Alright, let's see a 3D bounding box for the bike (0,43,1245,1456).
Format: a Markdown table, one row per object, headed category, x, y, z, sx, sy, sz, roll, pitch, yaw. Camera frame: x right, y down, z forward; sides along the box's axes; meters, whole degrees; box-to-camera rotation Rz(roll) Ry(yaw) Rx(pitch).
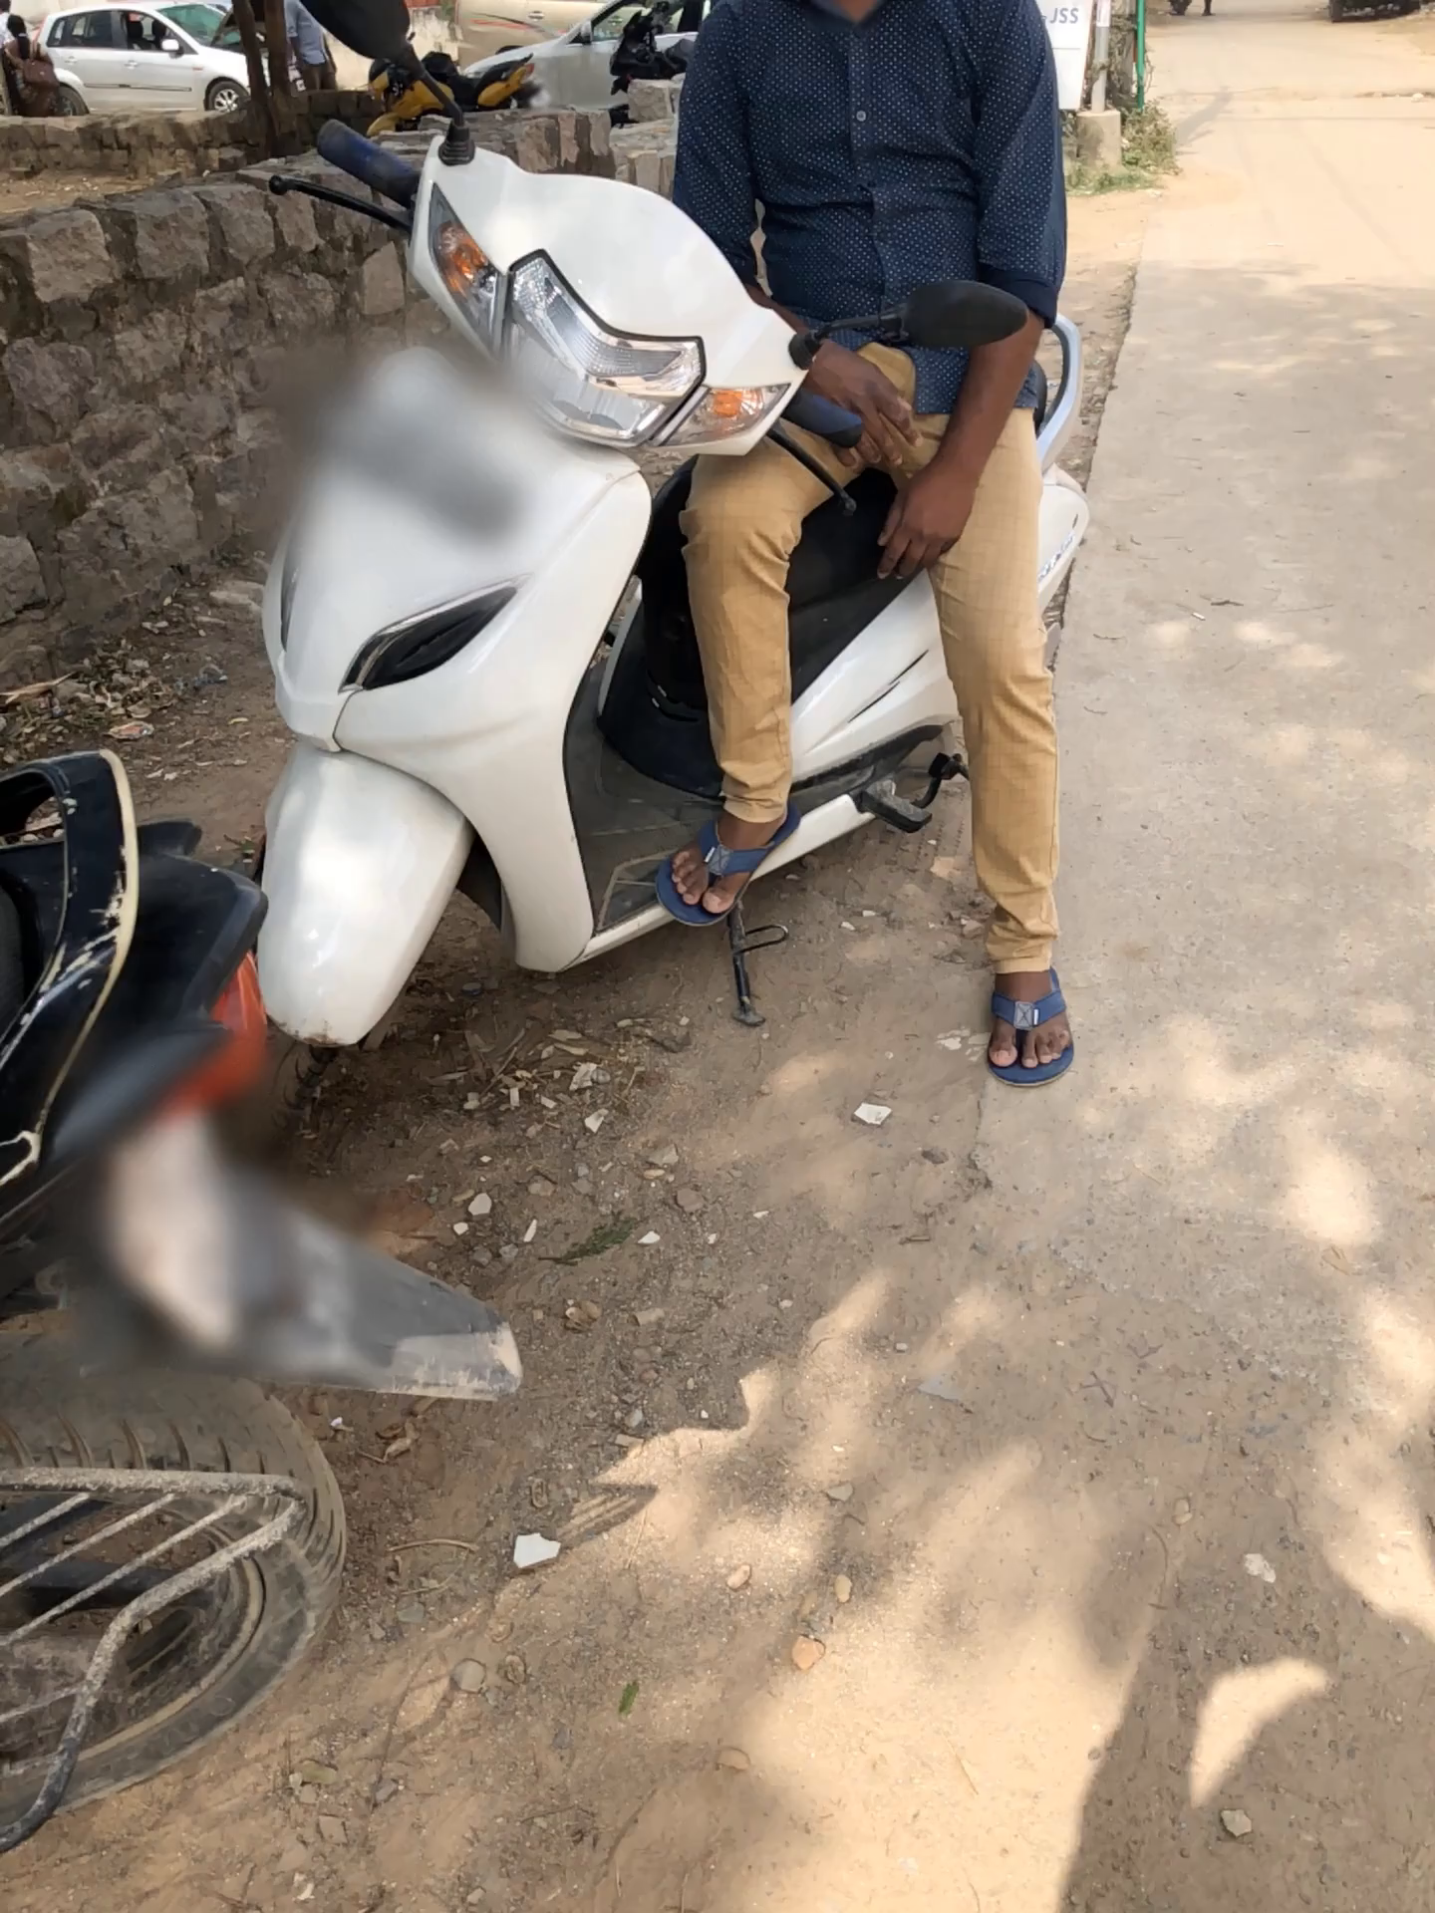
| category | x | y | z | sx | sy | sz | roll | pitch | yaw |
| --- | --- | --- | --- | --- | --- | --- | --- | --- | --- |
| bike | 0.020 | -0.434 | 1.979 | 0.621 | 1.200 | 1.598 | 18 | 36 | 30 |
